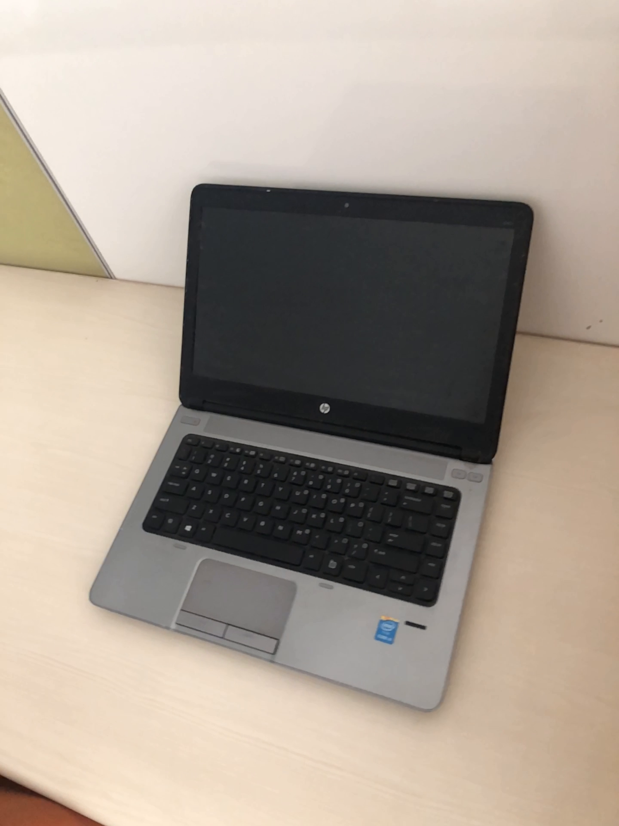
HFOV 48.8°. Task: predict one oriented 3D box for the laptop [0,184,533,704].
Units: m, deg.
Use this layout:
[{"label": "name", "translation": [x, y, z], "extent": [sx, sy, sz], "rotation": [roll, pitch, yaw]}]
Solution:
[{"label": "laptop", "translation": [-0.006, -0.005, 0.599], "extent": [0.322, 0.148, 0.378], "rotation": [10, 60, 20]}]
